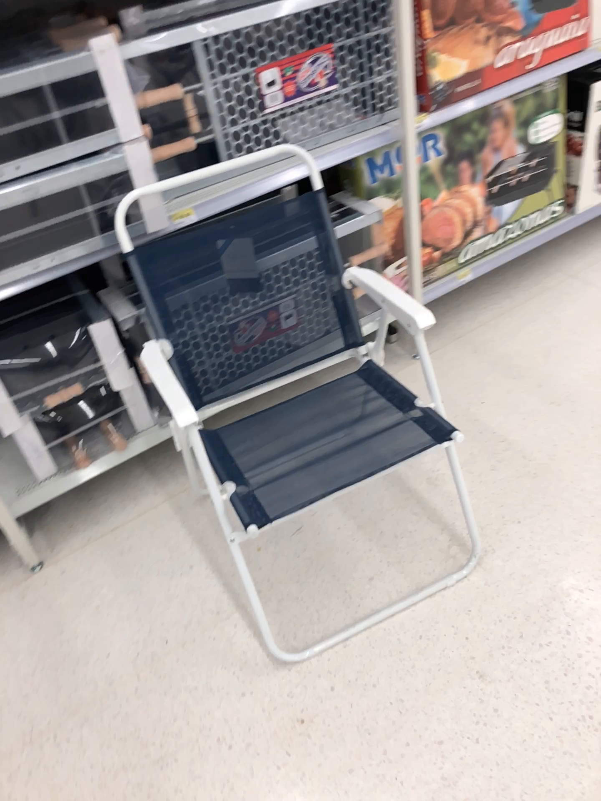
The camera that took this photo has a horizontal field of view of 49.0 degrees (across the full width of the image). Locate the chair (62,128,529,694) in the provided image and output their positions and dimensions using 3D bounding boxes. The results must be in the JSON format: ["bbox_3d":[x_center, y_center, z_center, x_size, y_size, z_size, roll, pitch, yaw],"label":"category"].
[{"bbox_3d":[-0.017,-0.011,1.294,0.541,0.734,0.654,-23,41,-14],"label":"chair"}]
